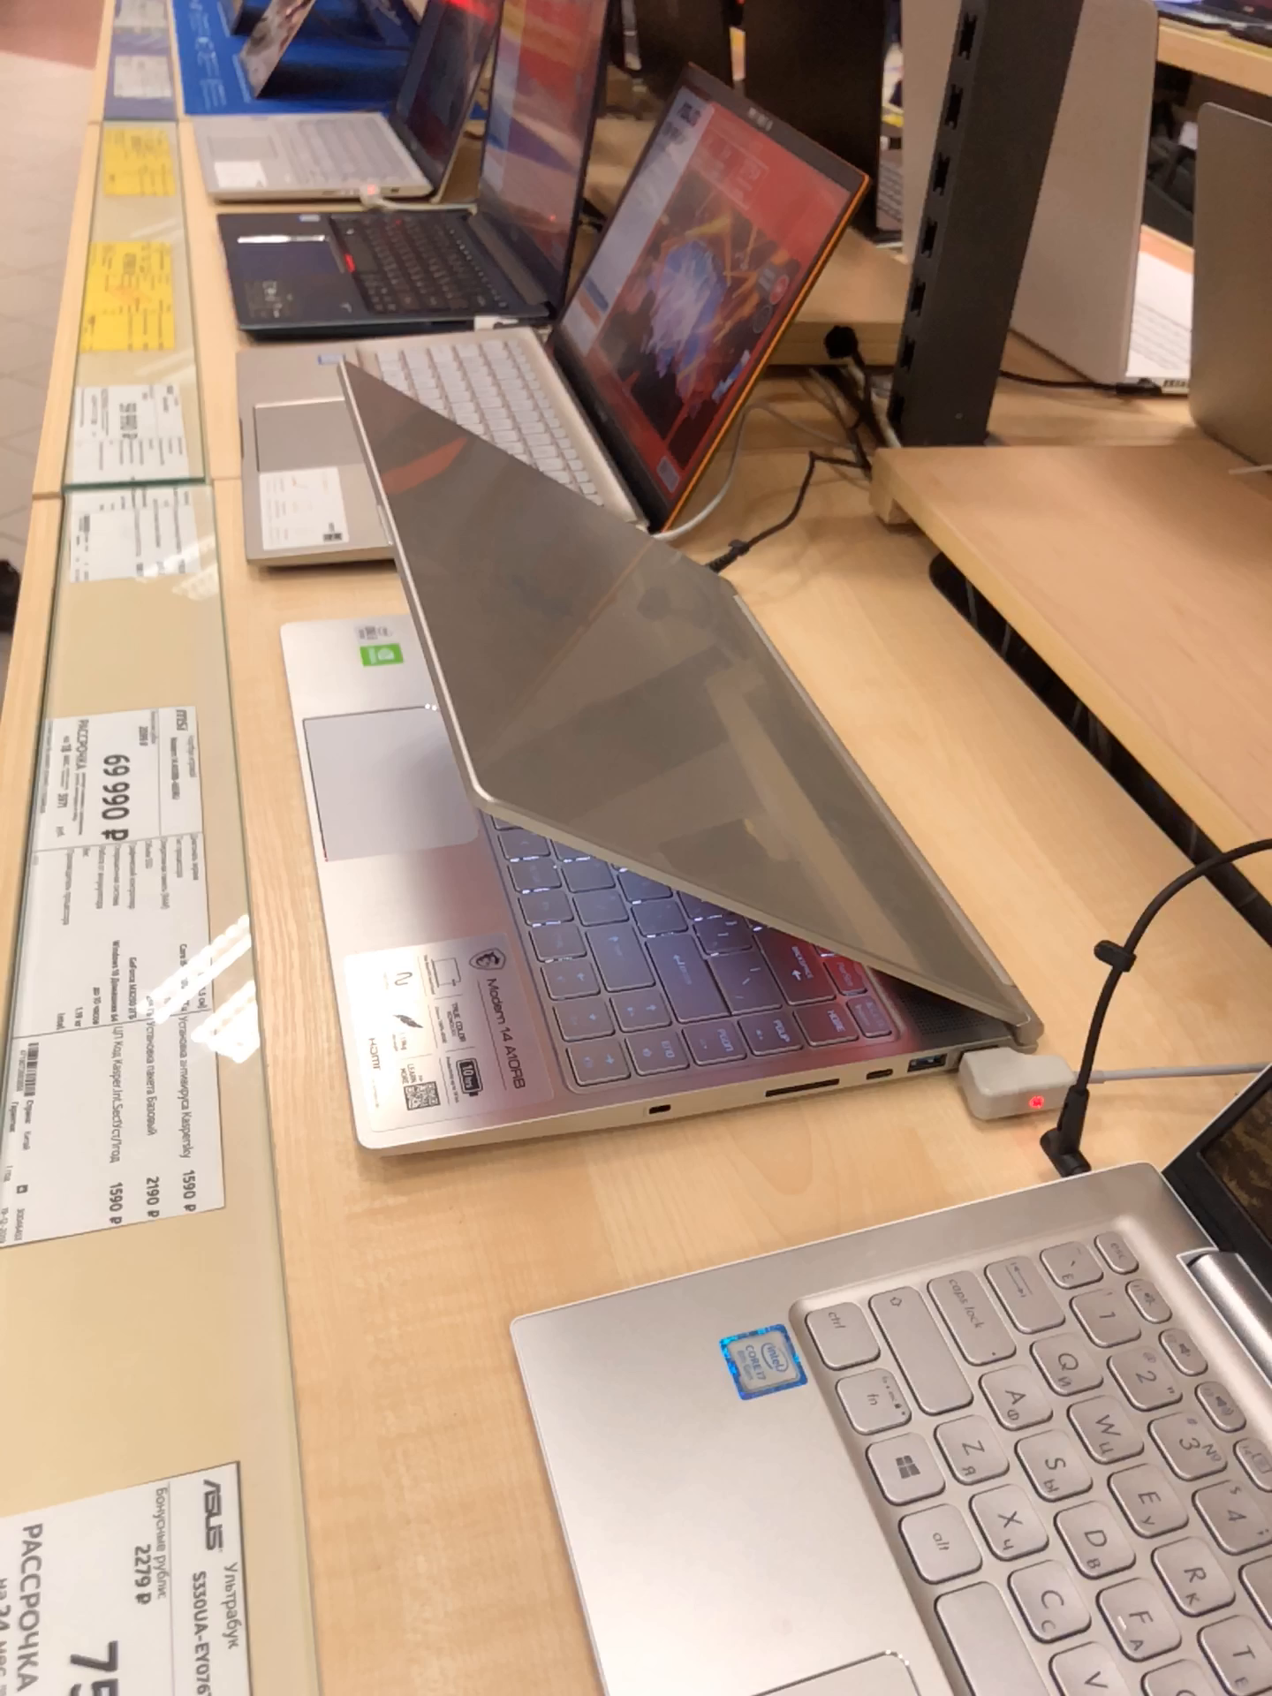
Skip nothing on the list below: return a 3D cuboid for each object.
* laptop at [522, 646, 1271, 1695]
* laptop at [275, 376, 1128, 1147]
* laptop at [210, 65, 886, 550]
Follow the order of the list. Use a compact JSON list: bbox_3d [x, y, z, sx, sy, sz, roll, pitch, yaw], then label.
[{"bbox_3d":[0.166,0.132,0.235,0.300,0.154,0.327,-10,37,-14],"label":"laptop"},{"bbox_3d":[-0.012,-0.065,0.527,0.216,0.113,0.322,-7,37,-14],"label":"laptop"},{"bbox_3d":[-0.075,-0.331,0.814,0.314,0.169,0.311,-7,38,-13],"label":"laptop"}]
